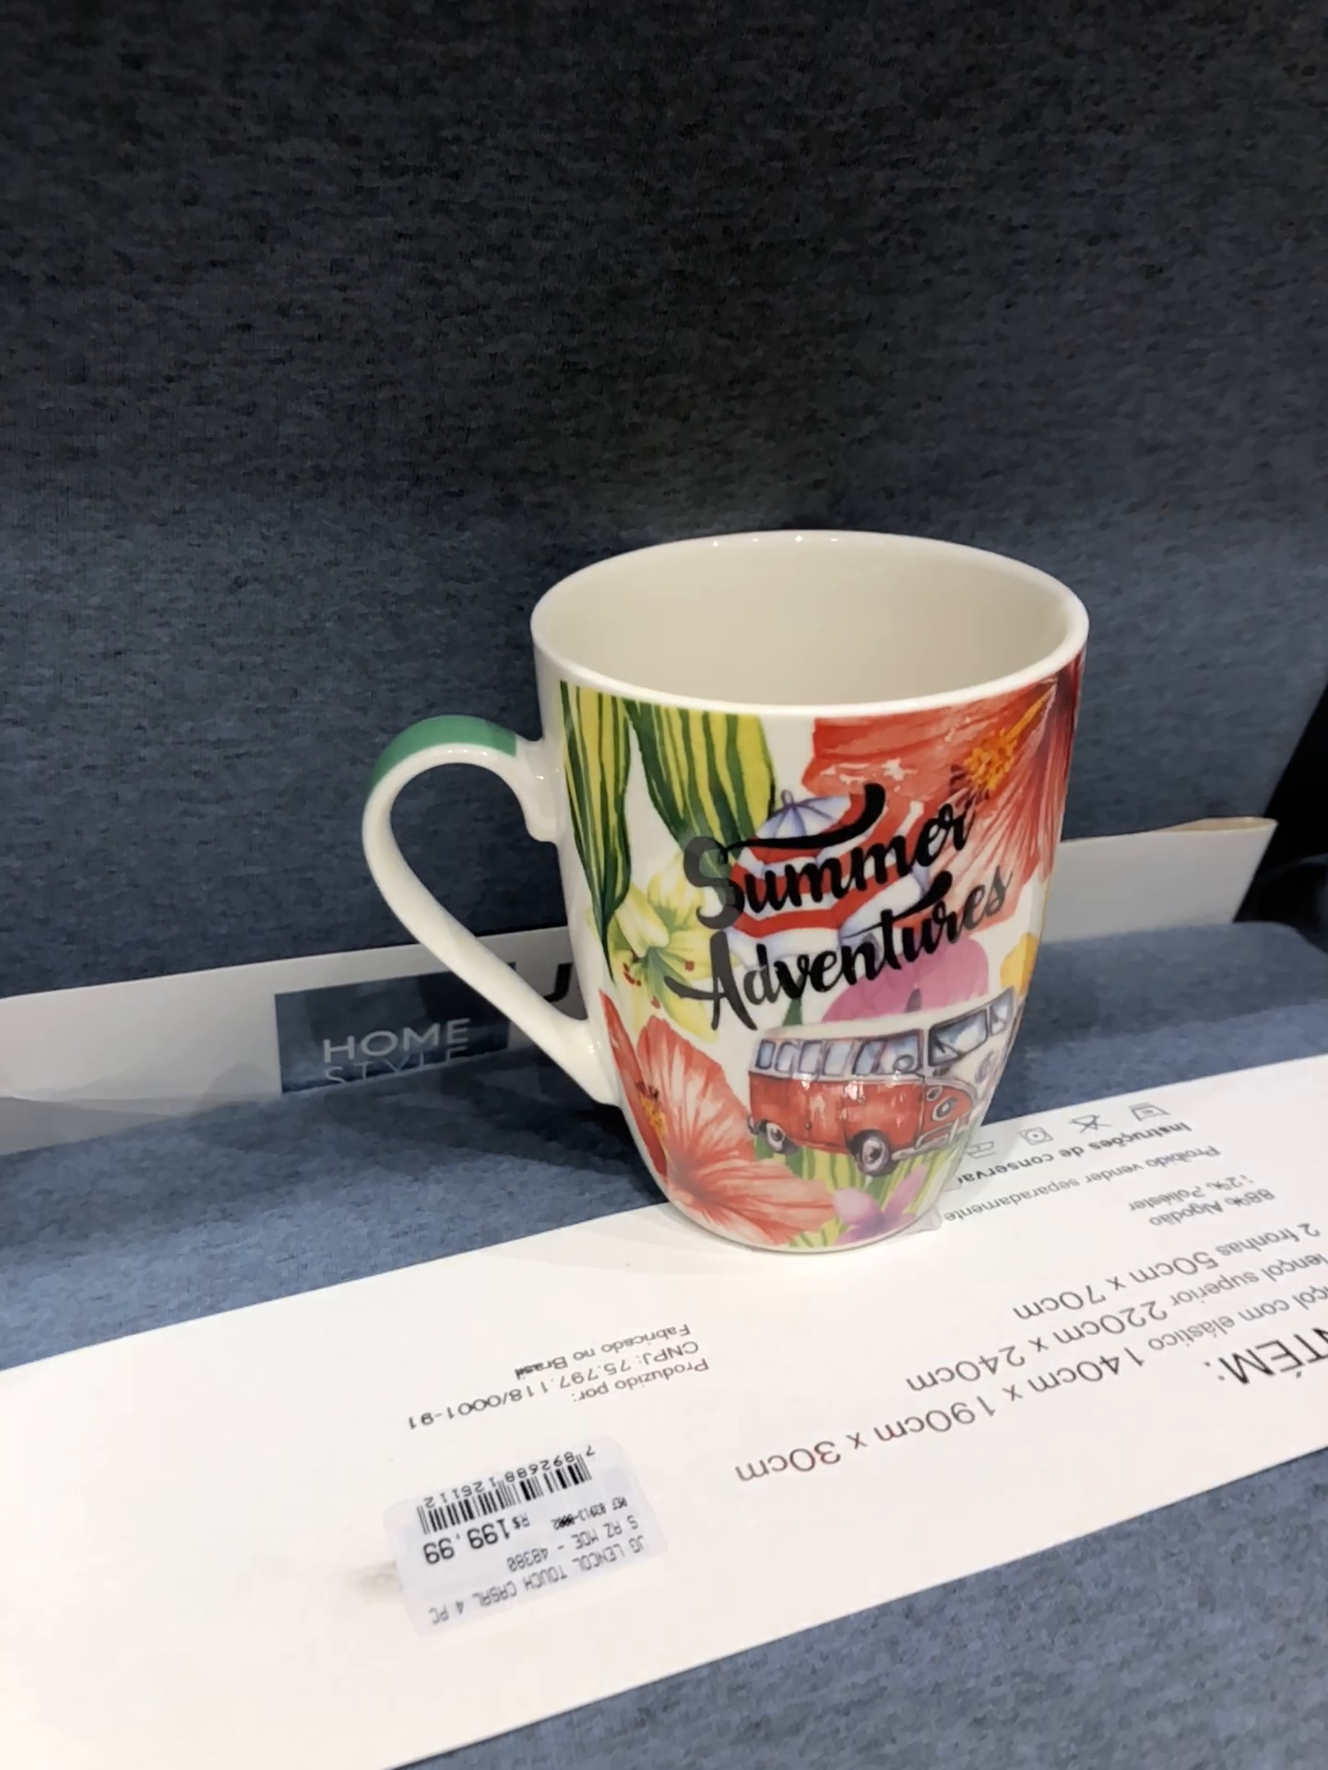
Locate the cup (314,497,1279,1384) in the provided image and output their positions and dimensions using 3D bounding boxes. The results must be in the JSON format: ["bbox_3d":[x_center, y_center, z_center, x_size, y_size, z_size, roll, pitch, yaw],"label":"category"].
[{"bbox_3d":[0.011,-0.002,0.227,0.110,0.090,0.090,-8,26,-14],"label":"cup"}]
